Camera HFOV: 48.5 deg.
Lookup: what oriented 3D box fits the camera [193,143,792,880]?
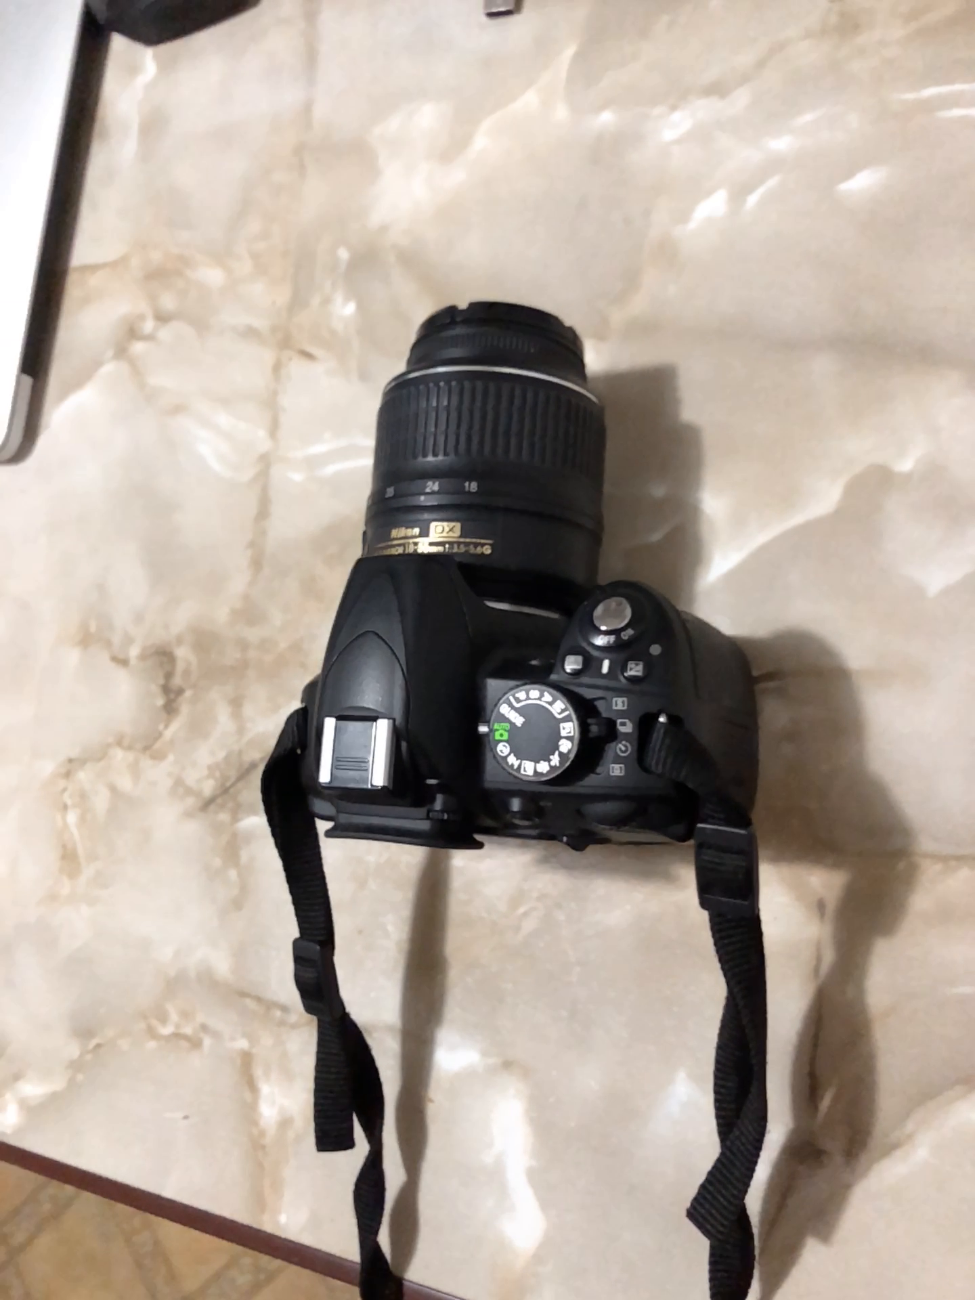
[{"bbox_3d":[0.008,-0.025,0.302,0.126,0.100,0.160,-1,81,28],"label":"camera"}]
